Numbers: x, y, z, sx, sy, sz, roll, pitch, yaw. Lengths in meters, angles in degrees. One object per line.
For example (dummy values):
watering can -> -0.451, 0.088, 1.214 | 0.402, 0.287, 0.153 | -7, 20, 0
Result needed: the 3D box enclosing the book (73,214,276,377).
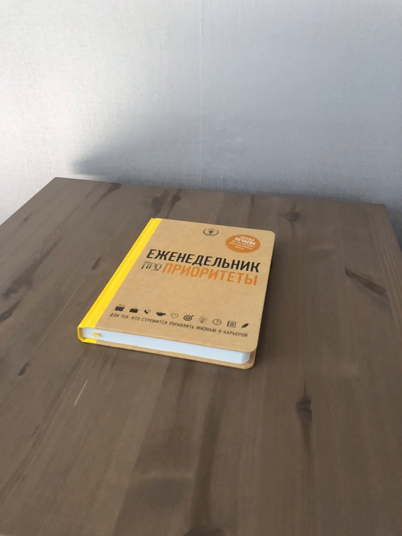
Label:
book -> -0.013, 0.014, 0.518 | 0.180, 0.032, 0.230 | 7, 36, 10
